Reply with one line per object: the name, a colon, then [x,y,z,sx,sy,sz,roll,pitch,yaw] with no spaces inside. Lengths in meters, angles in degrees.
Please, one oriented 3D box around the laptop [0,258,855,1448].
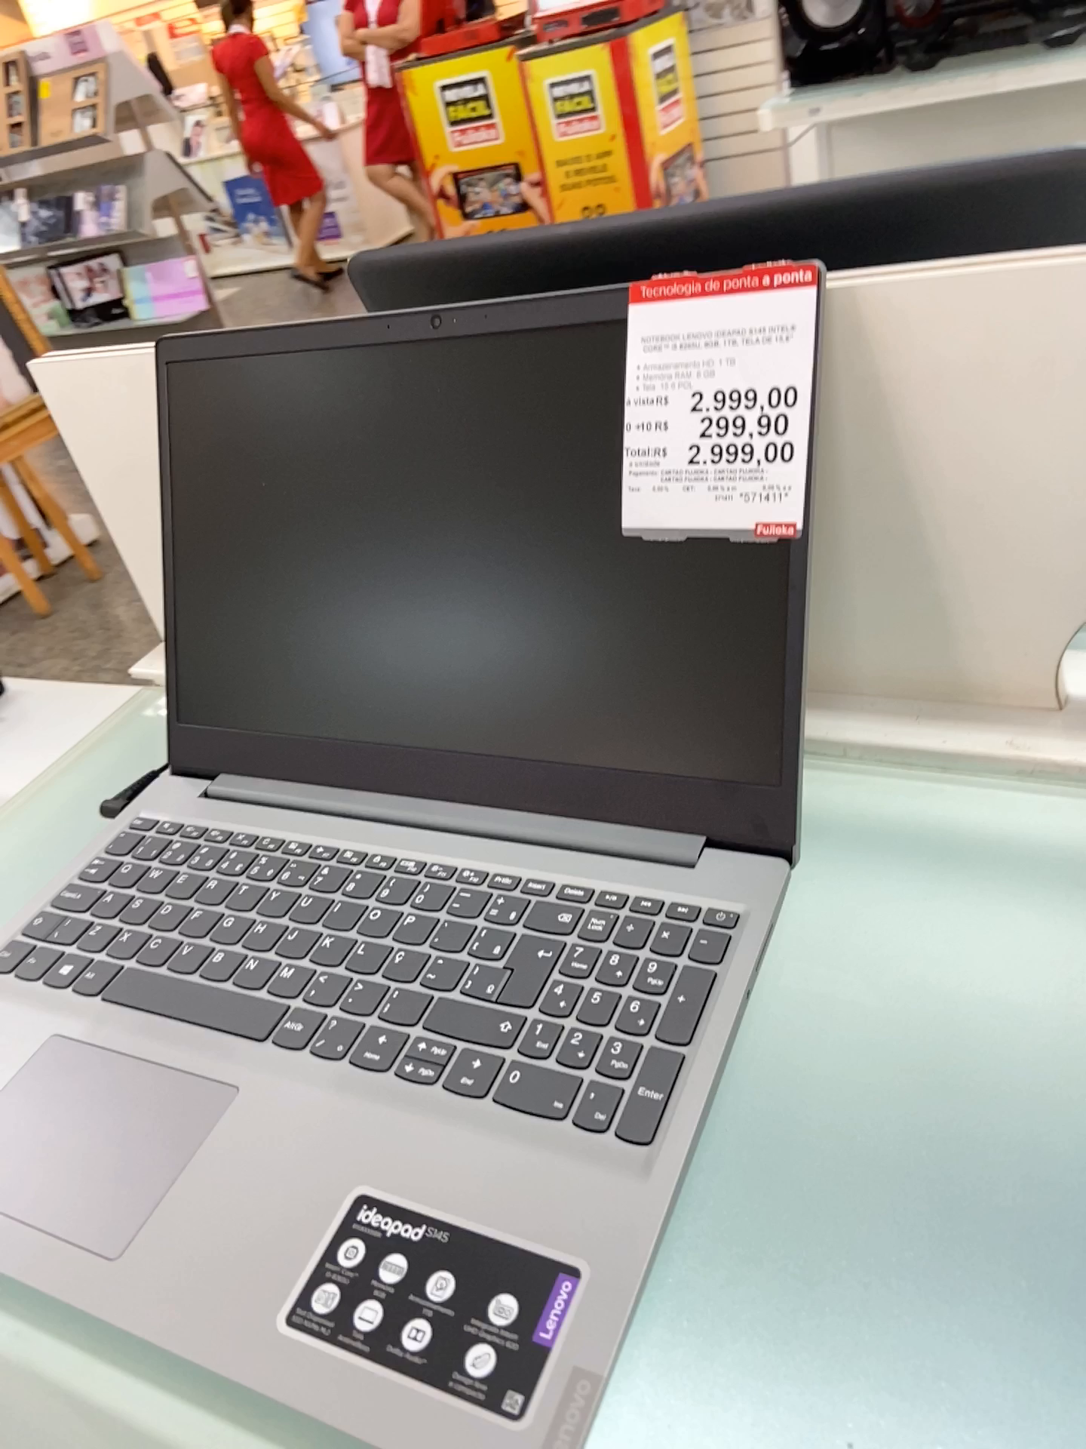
laptop: [-0.102,-0.004,0.439,0.354,0.195,0.371,5,39,27]
